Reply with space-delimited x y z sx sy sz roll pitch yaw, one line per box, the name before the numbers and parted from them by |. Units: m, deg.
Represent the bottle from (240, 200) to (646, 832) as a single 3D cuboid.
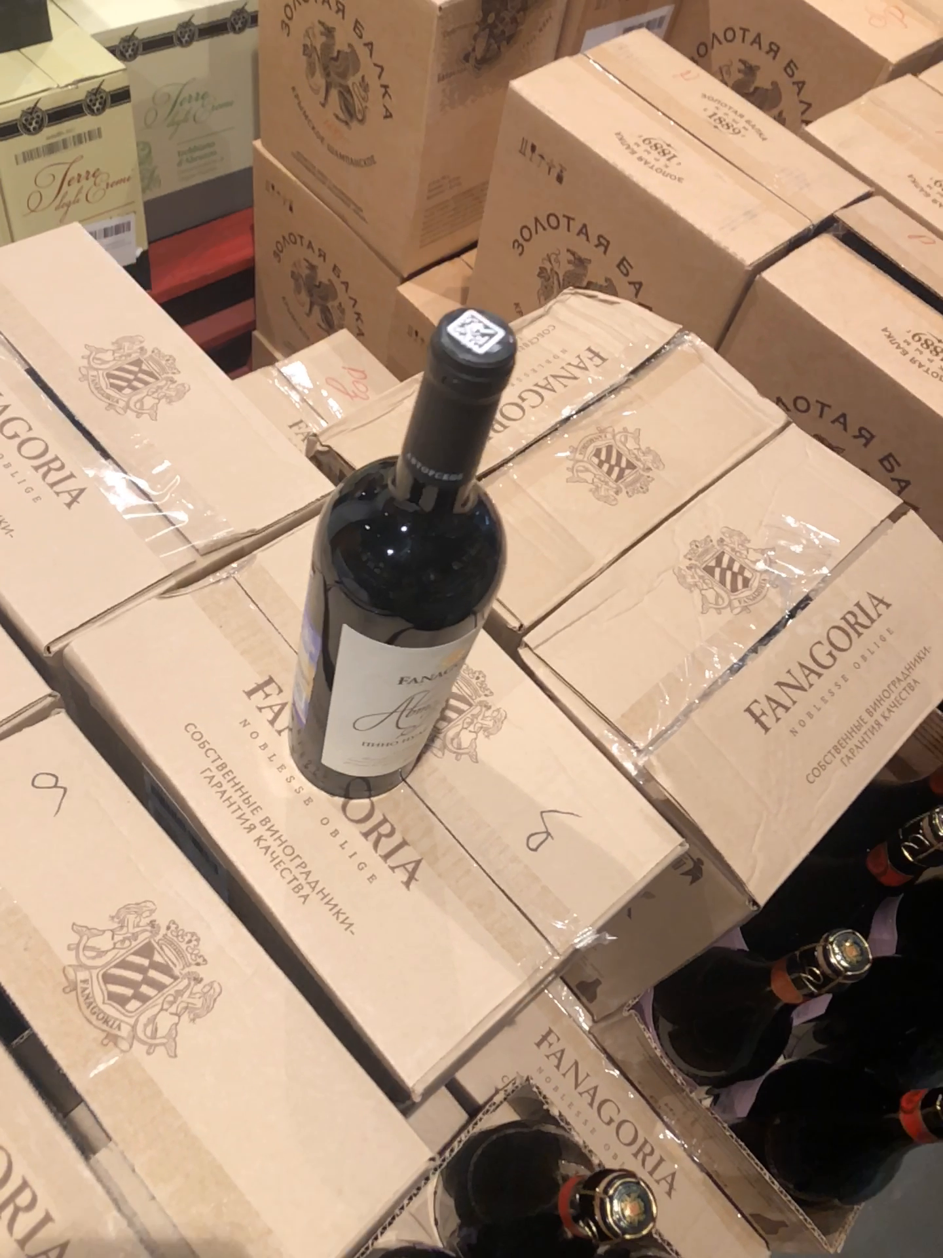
bottle | -0.036 -0.025 0.477 0.100 0.308 0.090 -29 69 -27
